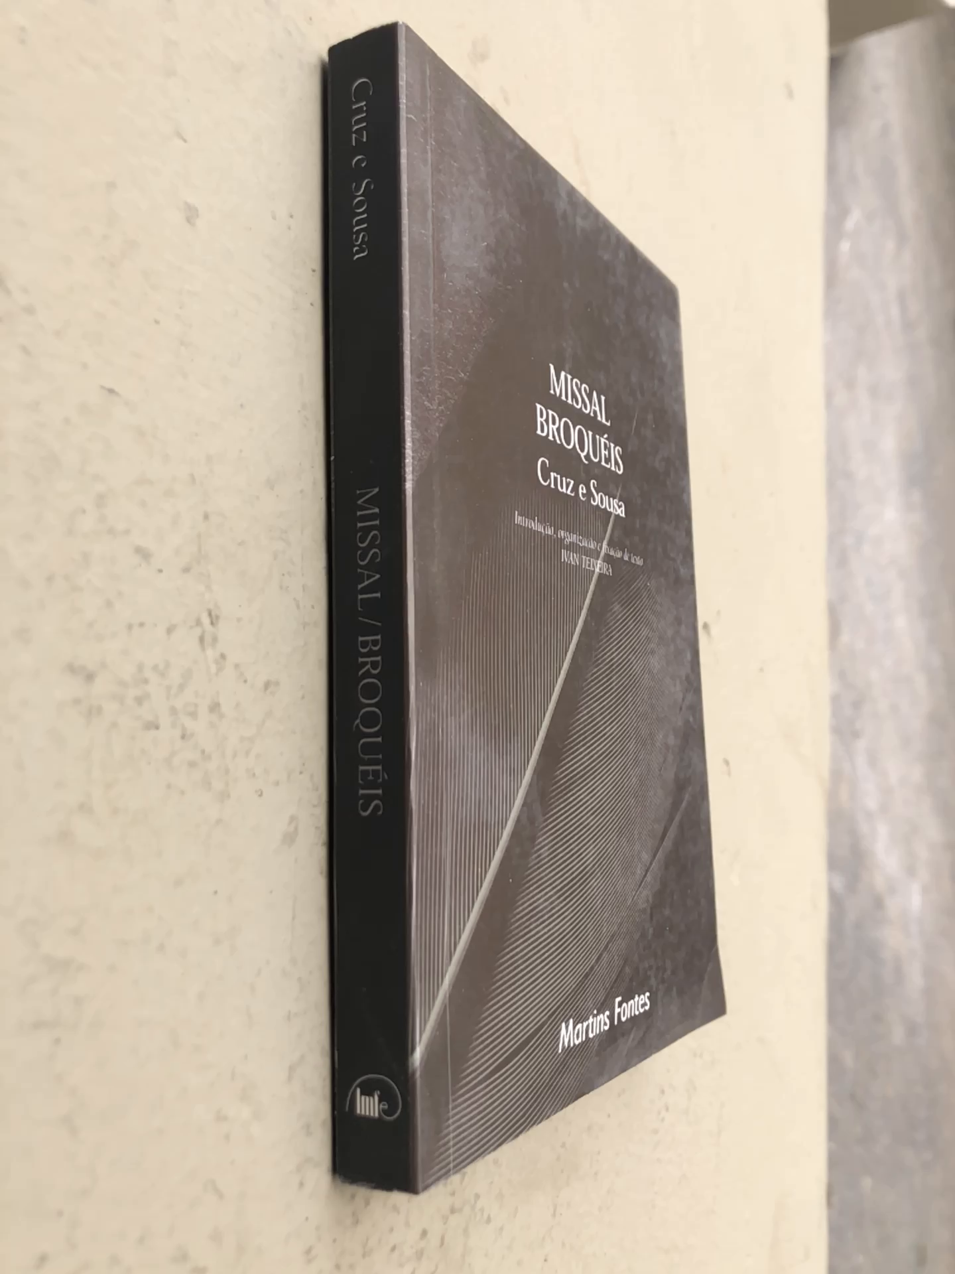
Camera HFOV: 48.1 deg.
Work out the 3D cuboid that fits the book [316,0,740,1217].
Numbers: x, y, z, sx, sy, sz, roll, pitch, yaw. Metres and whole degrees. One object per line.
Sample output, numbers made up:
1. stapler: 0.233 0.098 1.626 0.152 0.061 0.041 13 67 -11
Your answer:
1. book: 0.018 -0.006 0.206 0.128 0.016 0.173 9 77 -58
